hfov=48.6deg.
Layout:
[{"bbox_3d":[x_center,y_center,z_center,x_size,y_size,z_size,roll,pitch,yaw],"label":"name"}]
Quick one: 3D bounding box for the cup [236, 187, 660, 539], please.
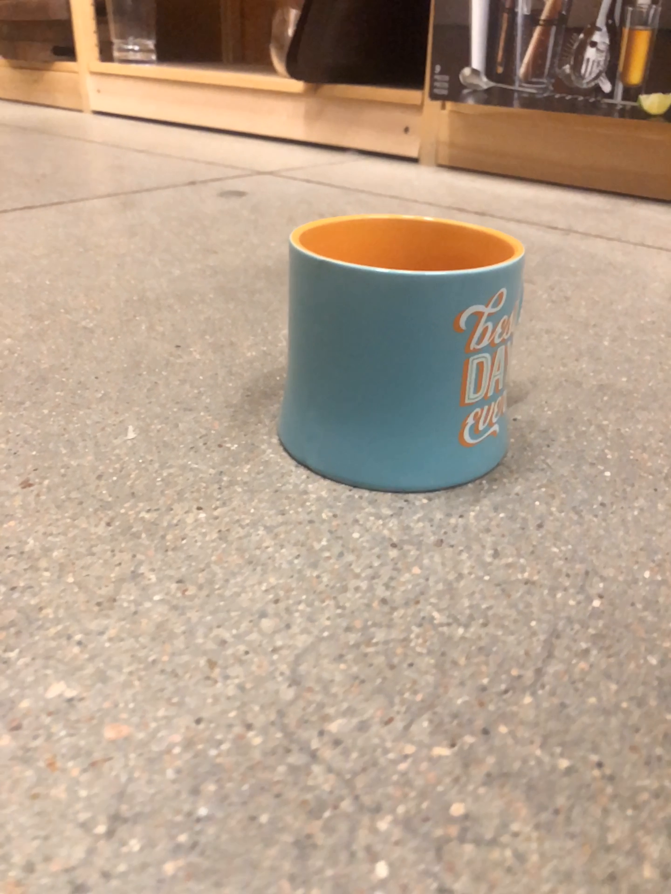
[{"bbox_3d":[0.047,-0.050,0.331,0.144,0.097,0.107,-22,37,-37],"label":"cup"}]
